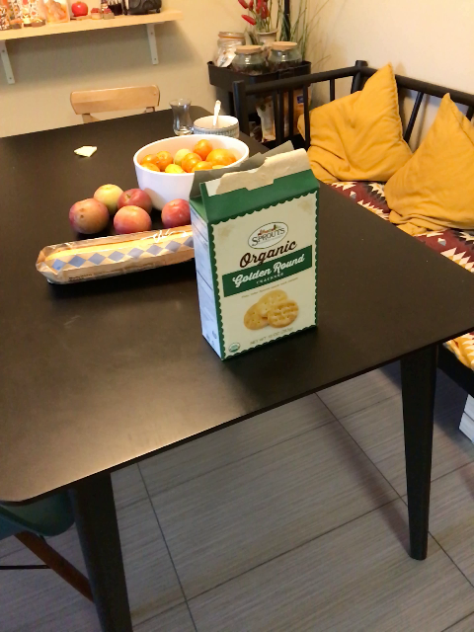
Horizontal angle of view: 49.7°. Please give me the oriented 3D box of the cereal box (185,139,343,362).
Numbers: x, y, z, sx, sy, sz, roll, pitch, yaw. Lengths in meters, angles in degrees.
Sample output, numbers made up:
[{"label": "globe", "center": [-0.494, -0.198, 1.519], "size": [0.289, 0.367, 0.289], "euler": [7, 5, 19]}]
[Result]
[{"label": "cereal box", "center": [0.039, -0.083, 0.682], "size": [0.171, 0.248, 0.080], "euler": [-19, 39, -19]}]
